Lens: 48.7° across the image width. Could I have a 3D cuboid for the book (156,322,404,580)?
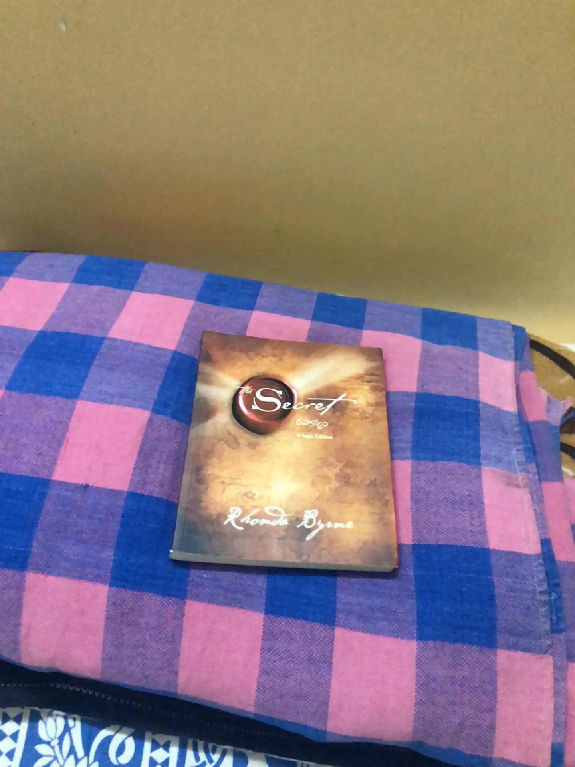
[{"bbox_3d":[0.000,0.038,0.450,0.150,0.020,0.191,3,53,0],"label":"book"}]
